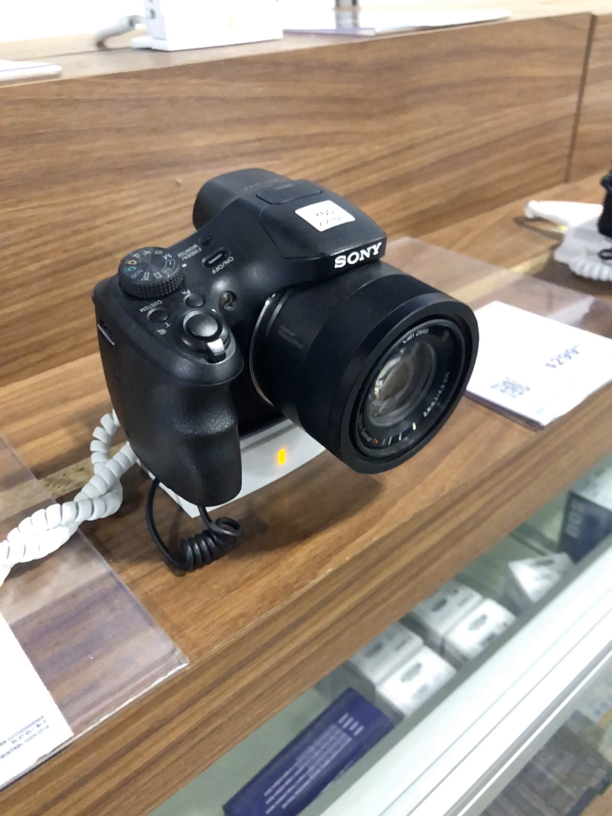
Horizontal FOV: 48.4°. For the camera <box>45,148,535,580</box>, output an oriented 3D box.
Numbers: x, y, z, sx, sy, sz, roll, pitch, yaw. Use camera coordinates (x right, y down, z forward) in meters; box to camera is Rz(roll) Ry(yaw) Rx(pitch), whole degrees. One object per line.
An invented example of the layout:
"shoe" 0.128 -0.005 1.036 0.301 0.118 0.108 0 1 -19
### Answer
"camera" -0.008 -0.031 0.273 0.130 0.089 0.121 -26 46 -32
